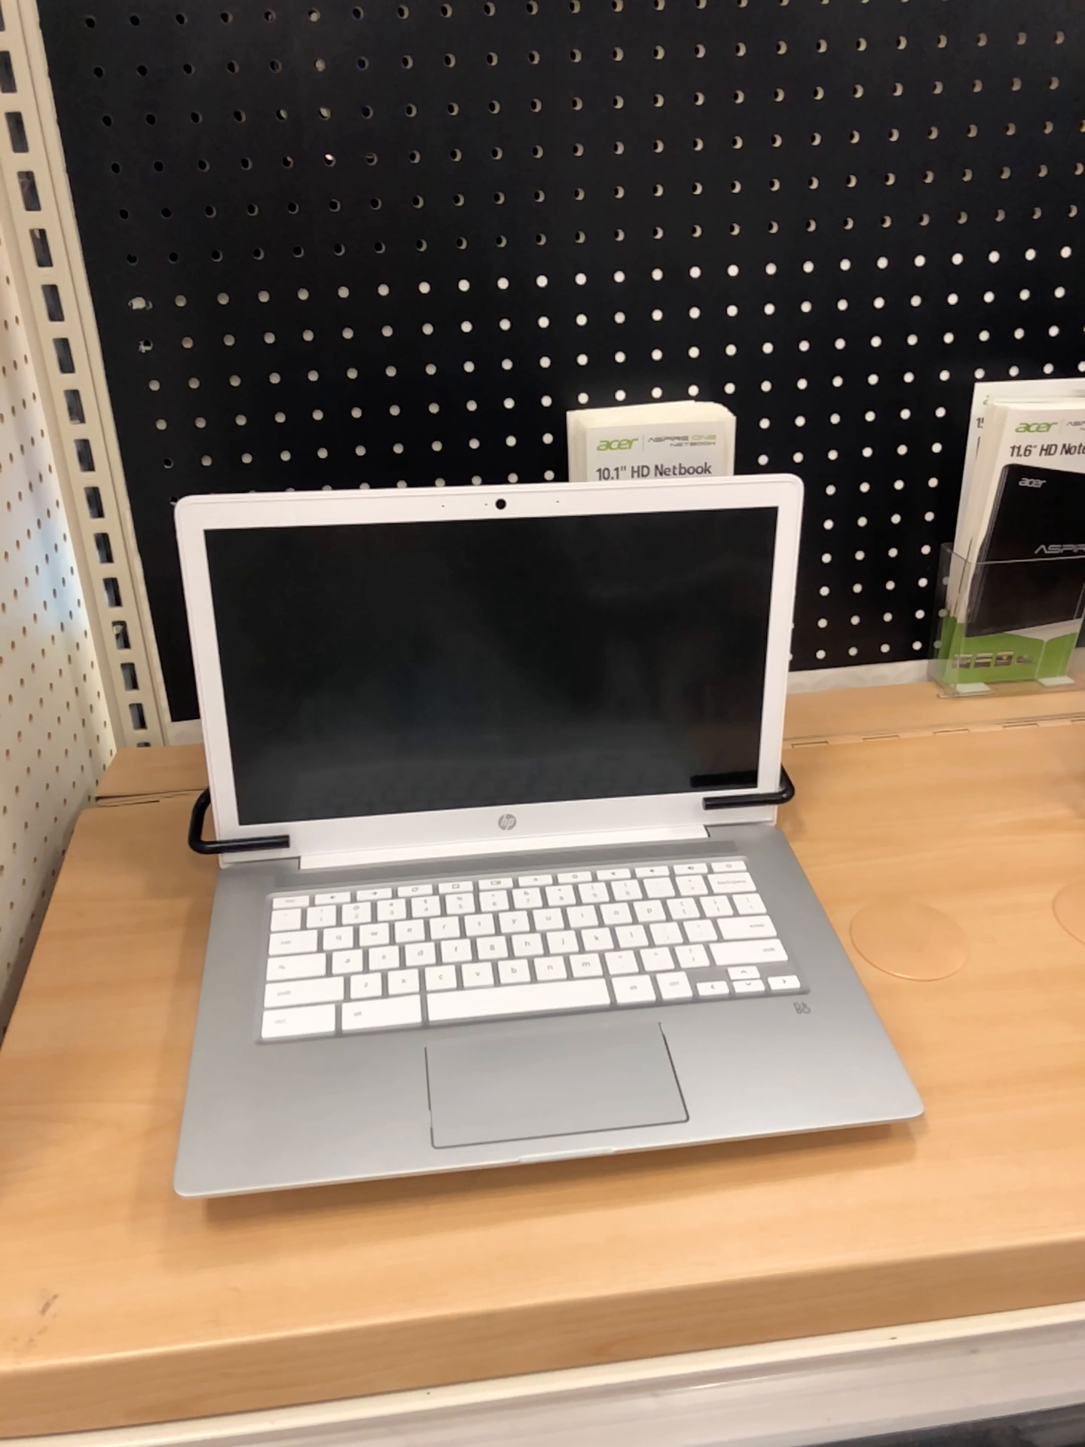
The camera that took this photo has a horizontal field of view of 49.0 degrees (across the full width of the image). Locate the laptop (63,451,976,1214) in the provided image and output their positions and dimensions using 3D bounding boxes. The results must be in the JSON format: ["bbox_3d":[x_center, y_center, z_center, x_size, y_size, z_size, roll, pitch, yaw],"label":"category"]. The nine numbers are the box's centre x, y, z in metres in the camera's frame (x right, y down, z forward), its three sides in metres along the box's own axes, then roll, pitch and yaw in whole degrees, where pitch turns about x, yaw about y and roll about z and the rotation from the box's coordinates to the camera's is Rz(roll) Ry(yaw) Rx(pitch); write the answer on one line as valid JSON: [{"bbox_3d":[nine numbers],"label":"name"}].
[{"bbox_3d":[-0.015,0.021,0.587,0.333,0.198,0.281,-5,30,-8],"label":"laptop"}]
